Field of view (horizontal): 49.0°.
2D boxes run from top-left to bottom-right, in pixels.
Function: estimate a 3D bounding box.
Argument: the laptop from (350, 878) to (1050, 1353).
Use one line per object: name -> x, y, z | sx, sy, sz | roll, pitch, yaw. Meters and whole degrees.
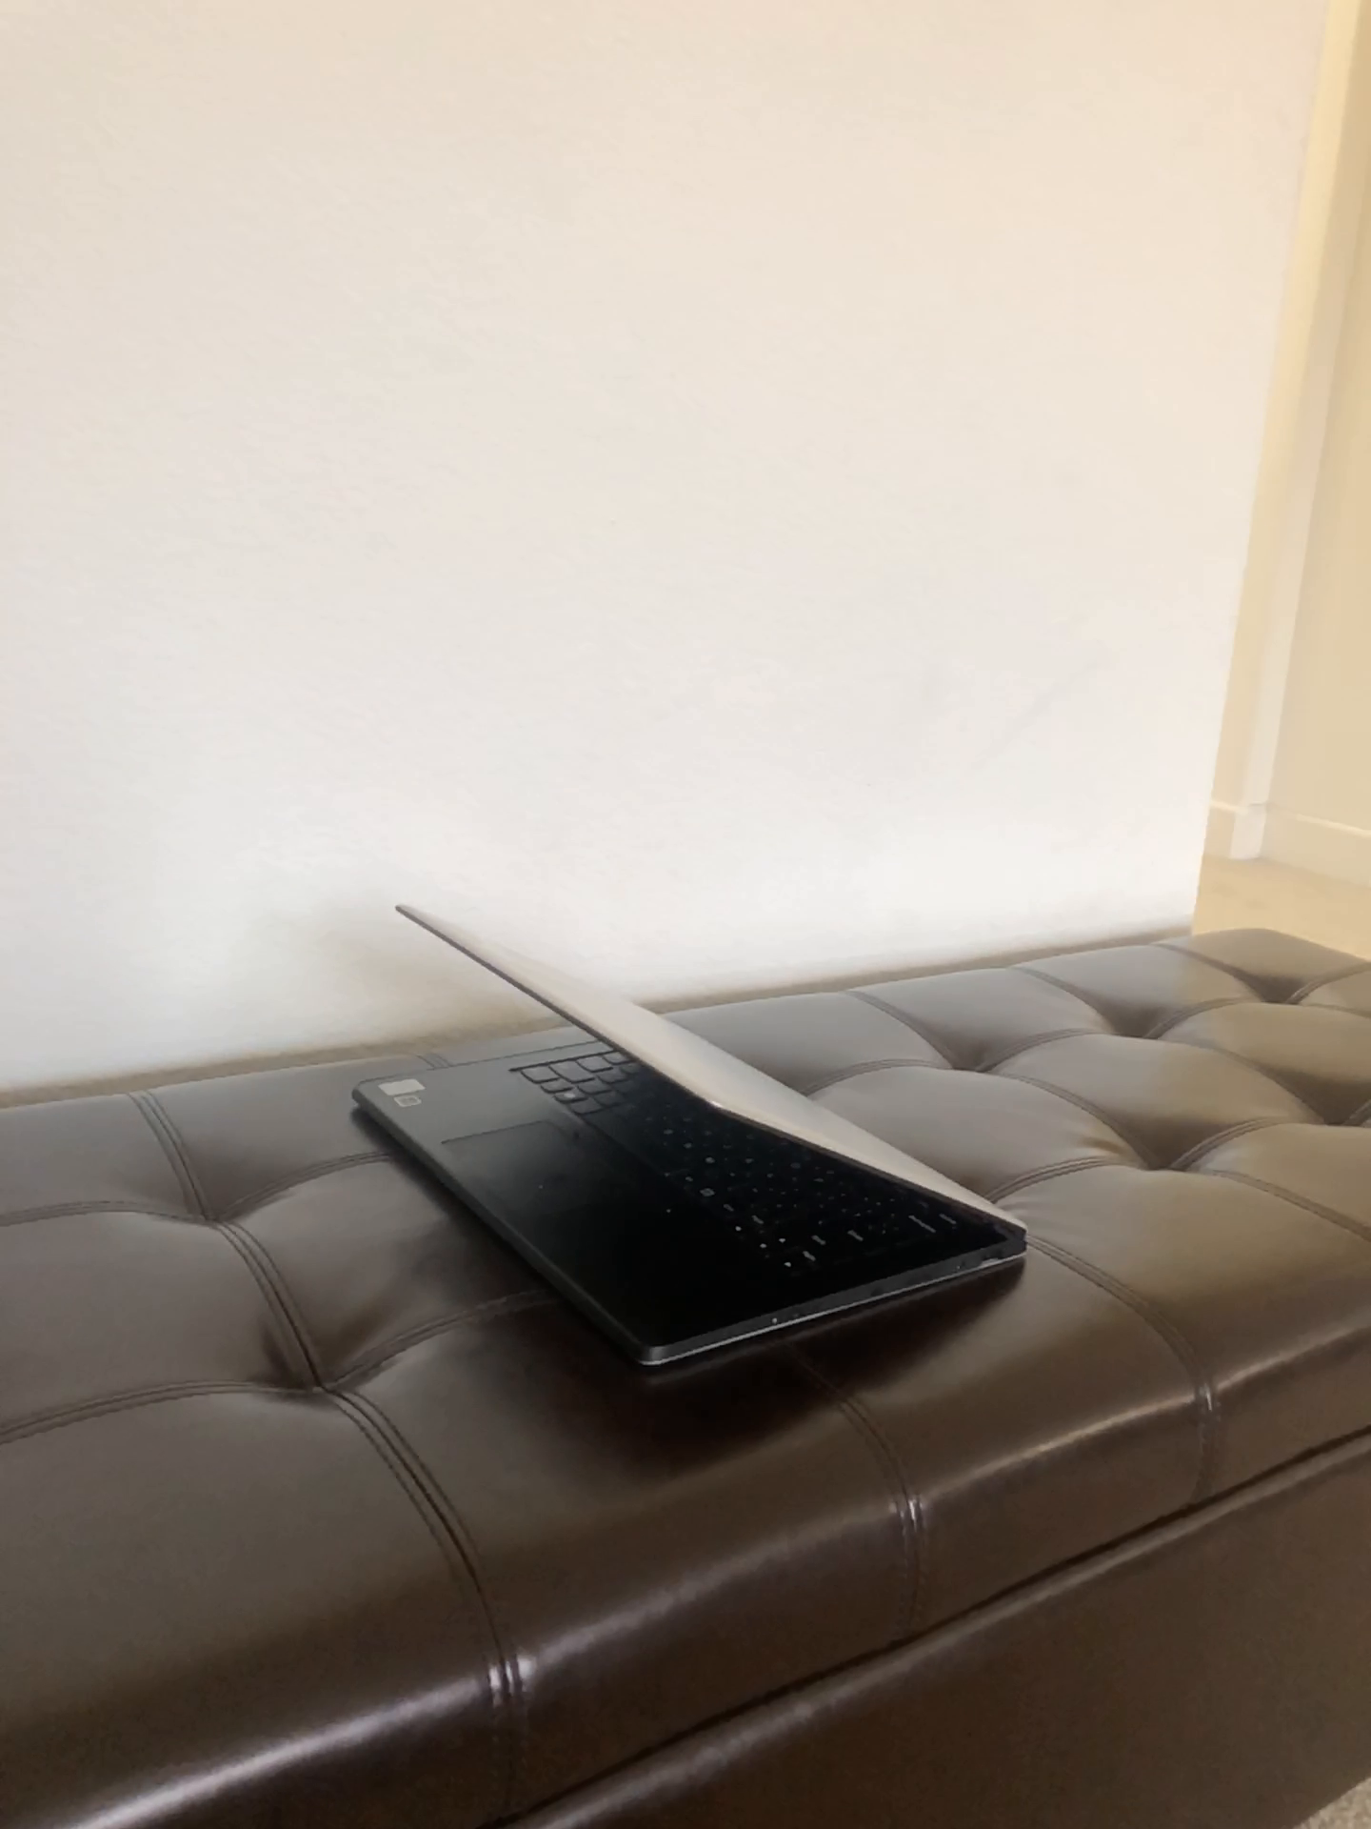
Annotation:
laptop -> -0.010, 0.072, 0.727 | 0.198, 0.097, 0.294 | -7, 18, -34
